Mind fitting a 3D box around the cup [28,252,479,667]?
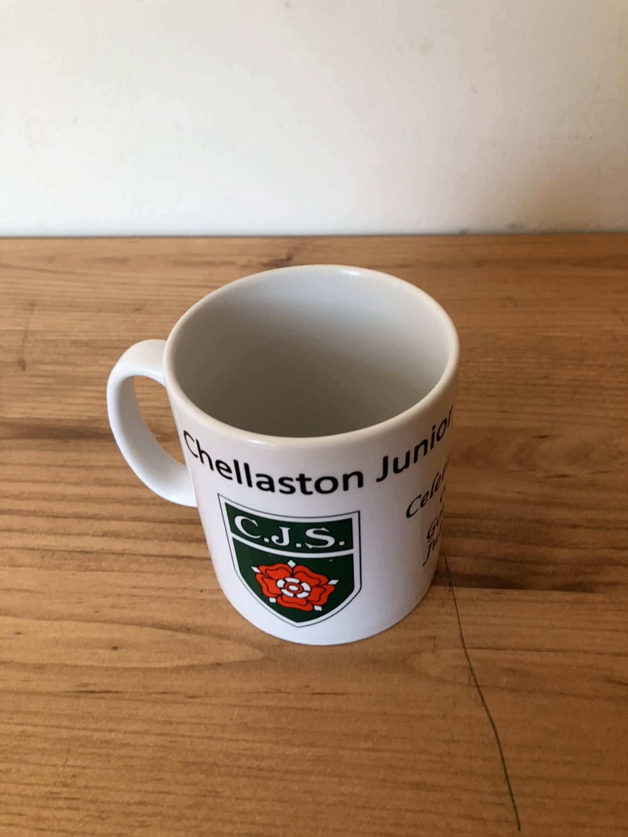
[{"bbox_3d":[-0.006,0.009,0.229,0.110,0.095,0.084,4,41,14],"label":"cup"}]
